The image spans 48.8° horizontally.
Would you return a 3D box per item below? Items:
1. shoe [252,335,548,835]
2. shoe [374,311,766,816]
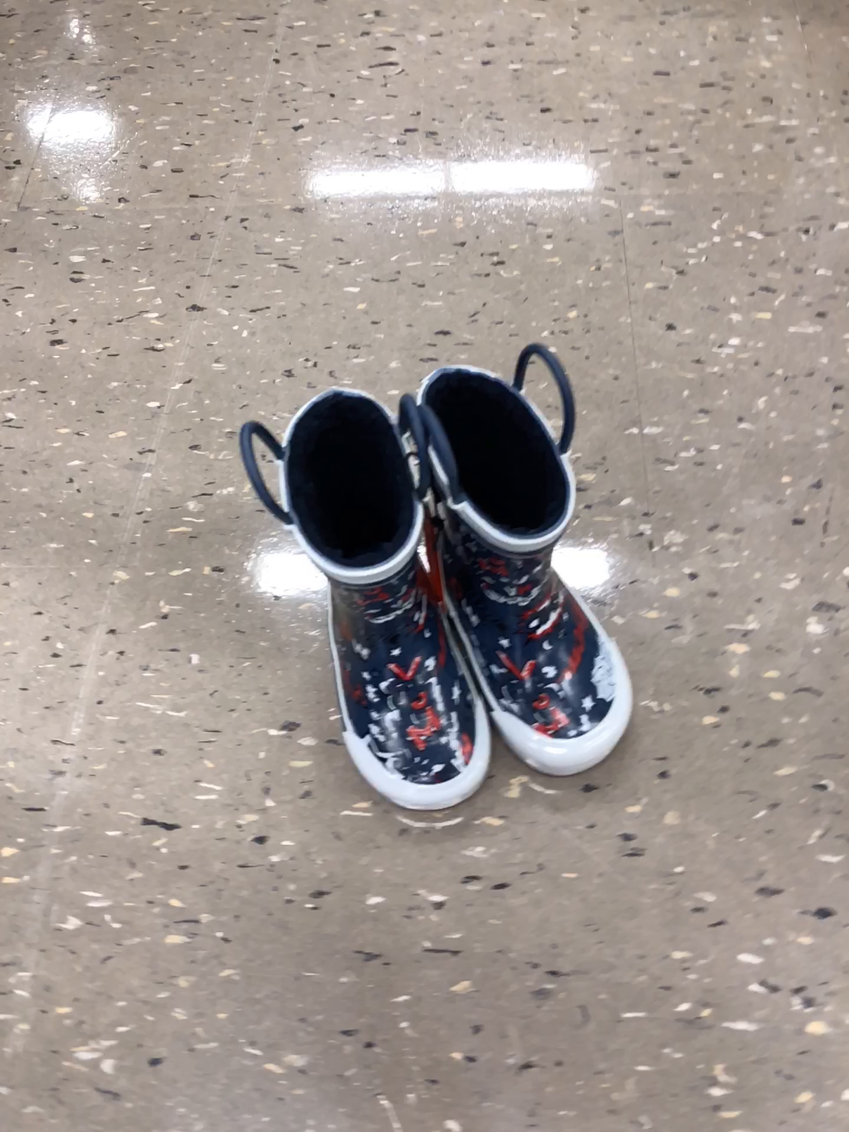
[{"bbox_3d":[-0.010,0.016,0.431,0.080,0.160,0.160,-14,61,-4],"label":"shoe"},{"bbox_3d":[0.053,0.007,0.419,0.080,0.160,0.150,-24,62,-10],"label":"shoe"}]
